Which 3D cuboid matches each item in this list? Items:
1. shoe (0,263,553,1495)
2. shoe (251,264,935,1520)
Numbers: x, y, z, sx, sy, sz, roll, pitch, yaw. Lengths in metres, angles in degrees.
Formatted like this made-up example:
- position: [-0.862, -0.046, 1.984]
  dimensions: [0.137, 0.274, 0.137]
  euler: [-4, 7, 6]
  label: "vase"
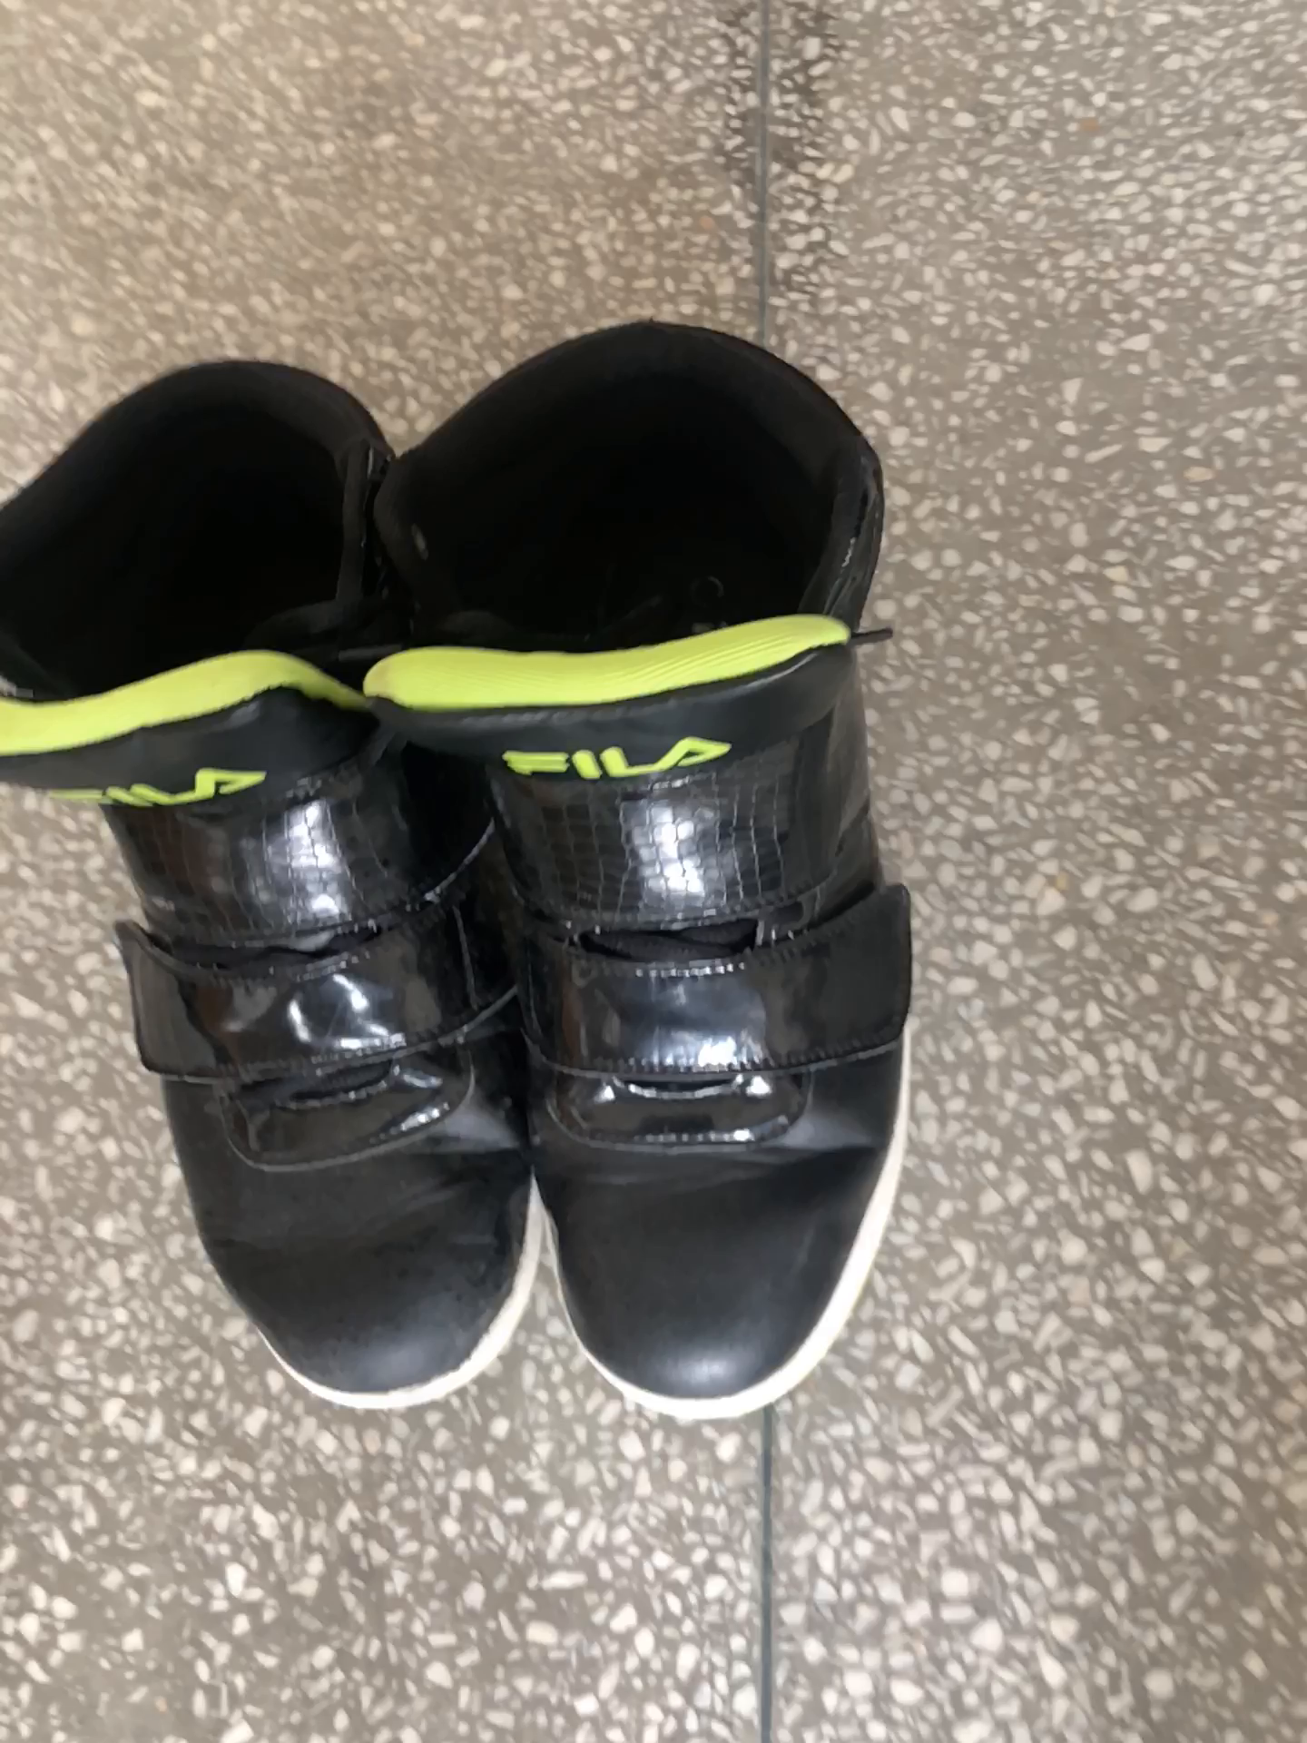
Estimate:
- position: [-0.117, 0.008, 0.396]
  dimensions: [0.120, 0.148, 0.270]
  euler: [-10, 72, 5]
  label: "shoe"
- position: [-0.006, 0.013, 0.358]
  dimensions: [0.120, 0.148, 0.250]
  euler: [-4, 73, 7]
  label: "shoe"
